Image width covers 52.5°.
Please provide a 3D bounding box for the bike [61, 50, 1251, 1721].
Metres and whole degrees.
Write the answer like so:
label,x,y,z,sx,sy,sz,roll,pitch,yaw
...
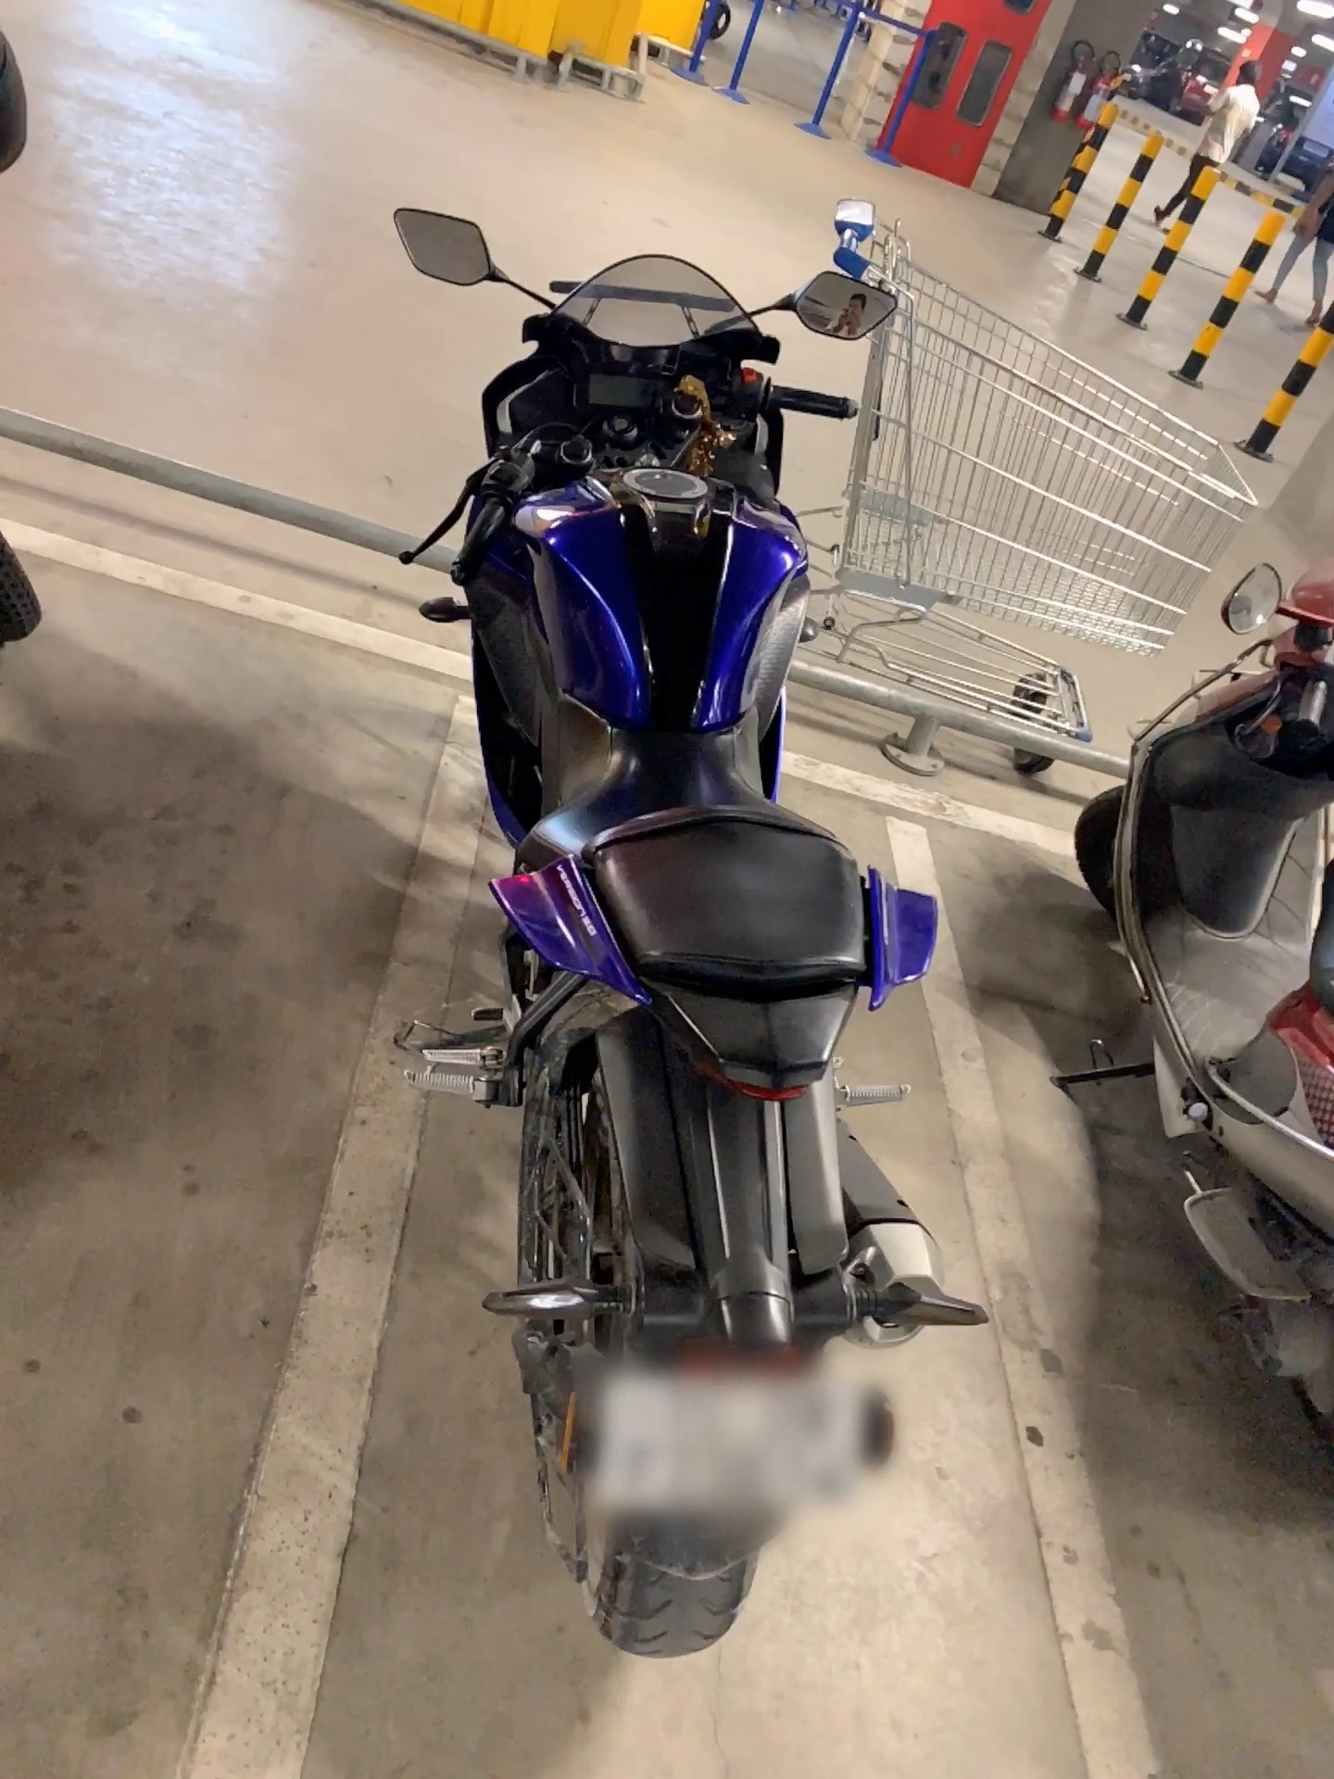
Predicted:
label,x,y,z,sx,sy,sz,roll,pitch,yaw
bike,-0.277,-0.124,1.637,0.688,0.933,1.655,6,42,-22
